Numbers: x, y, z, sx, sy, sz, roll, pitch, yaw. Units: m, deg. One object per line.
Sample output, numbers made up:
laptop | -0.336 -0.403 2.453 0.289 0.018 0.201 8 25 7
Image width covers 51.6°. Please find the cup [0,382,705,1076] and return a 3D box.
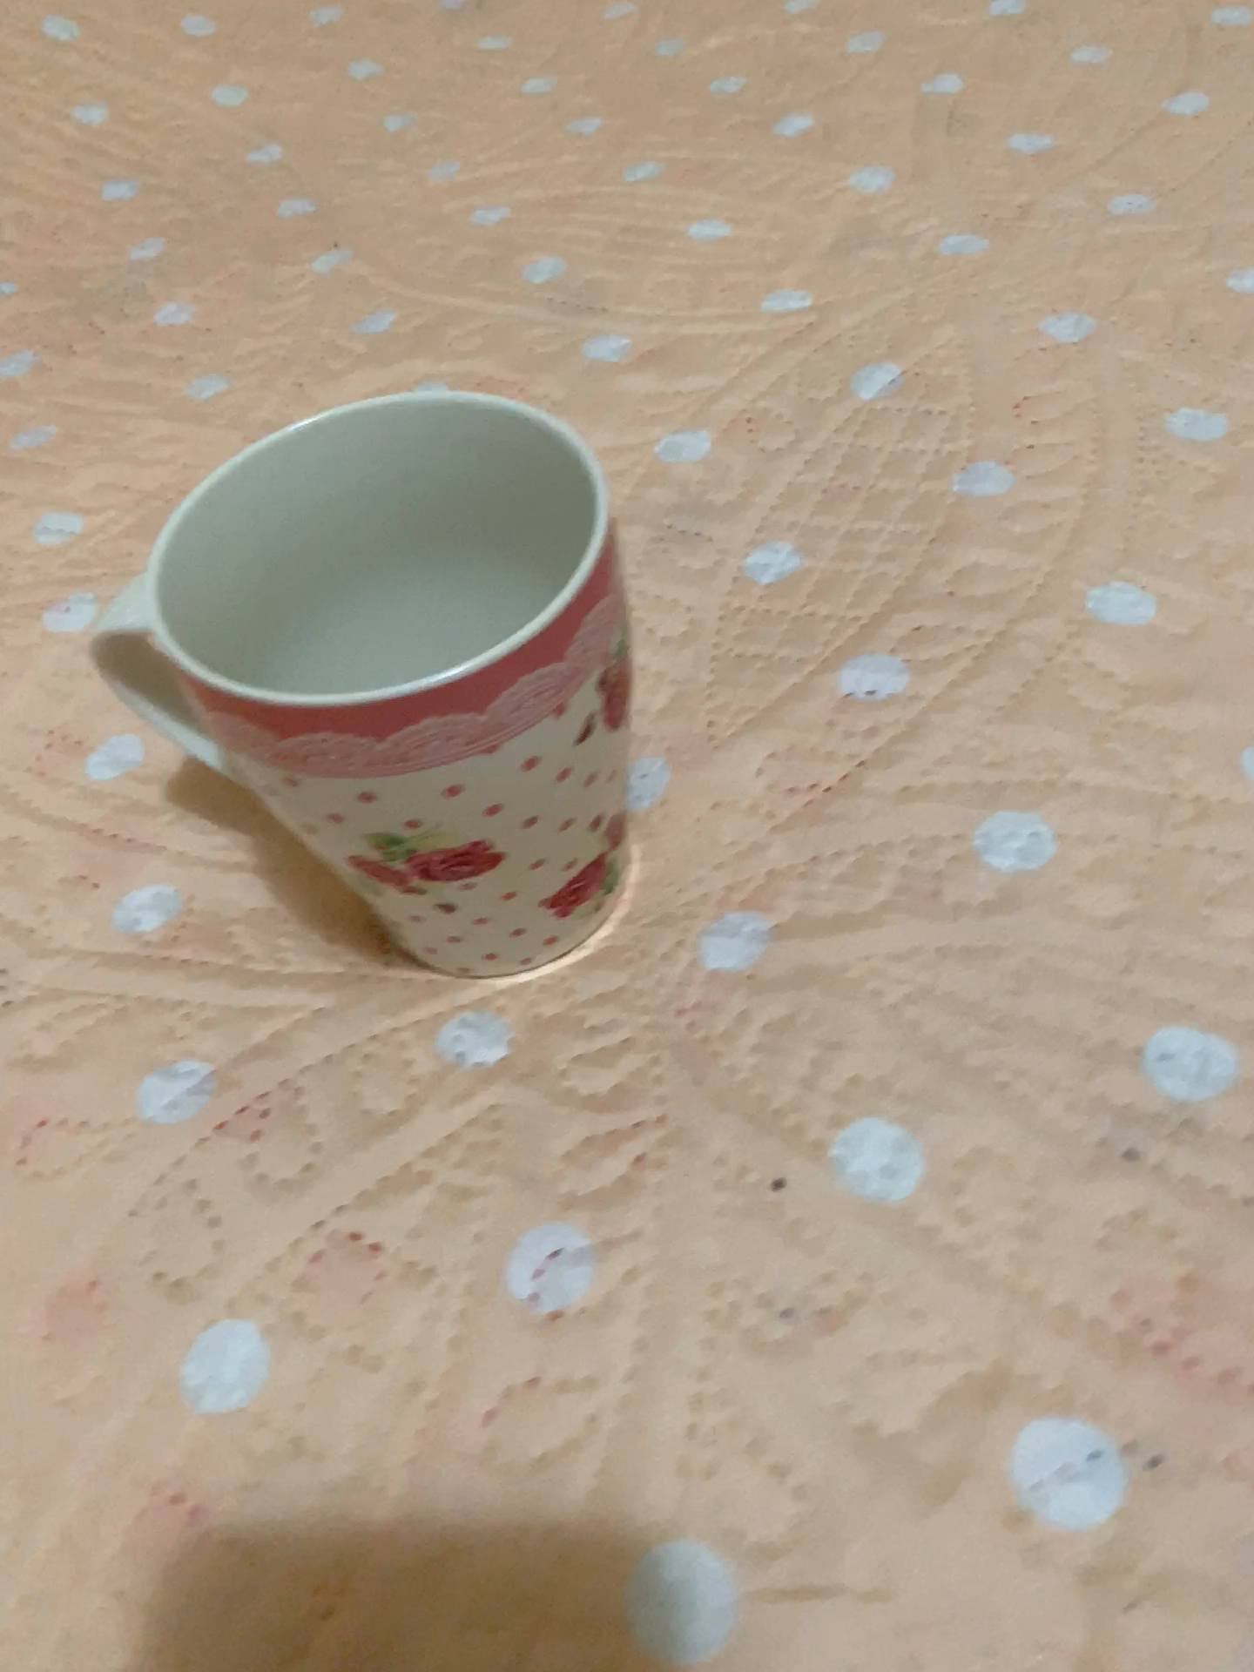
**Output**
cup | -0.057 -0.023 0.268 0.120 0.100 0.090 6 52 16
